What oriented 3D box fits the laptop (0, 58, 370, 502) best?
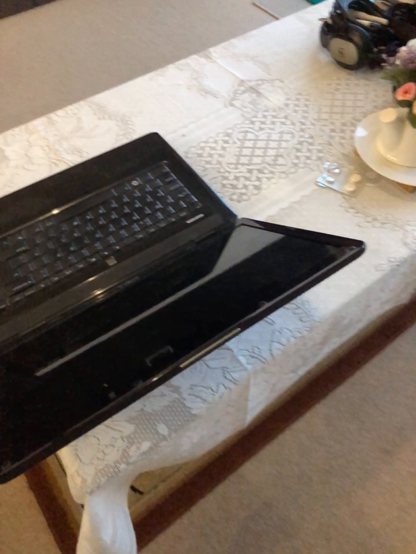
[{"bbox_3d":[-0.117,-0.050,0.530,0.364,0.122,0.420,-30,59,-18],"label":"laptop"}]
